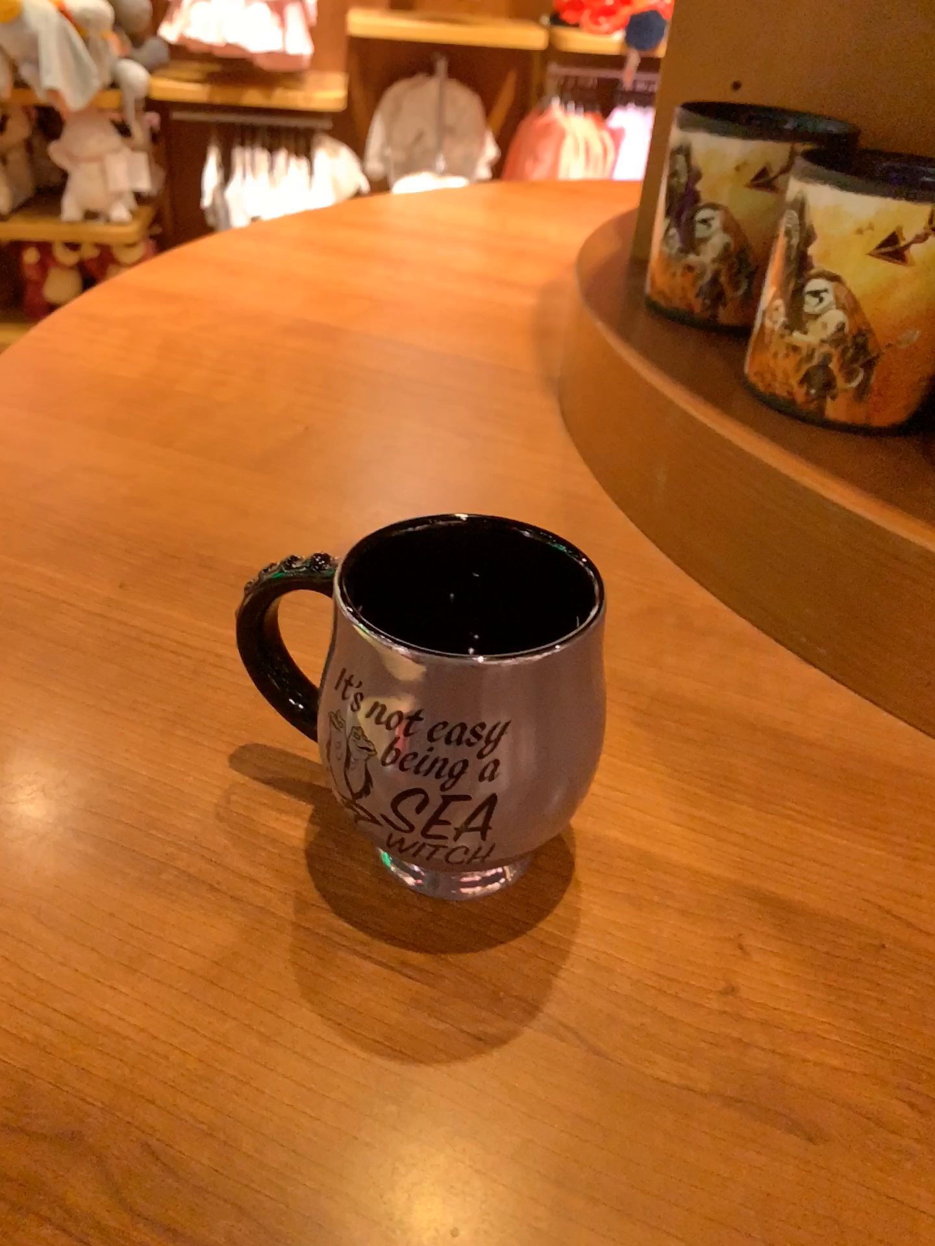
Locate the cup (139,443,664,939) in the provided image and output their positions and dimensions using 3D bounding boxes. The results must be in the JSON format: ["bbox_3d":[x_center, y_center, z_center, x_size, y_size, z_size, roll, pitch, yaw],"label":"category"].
[{"bbox_3d":[-0.017,0.015,0.302,0.125,0.089,0.087,16,37,15],"label":"cup"}]
